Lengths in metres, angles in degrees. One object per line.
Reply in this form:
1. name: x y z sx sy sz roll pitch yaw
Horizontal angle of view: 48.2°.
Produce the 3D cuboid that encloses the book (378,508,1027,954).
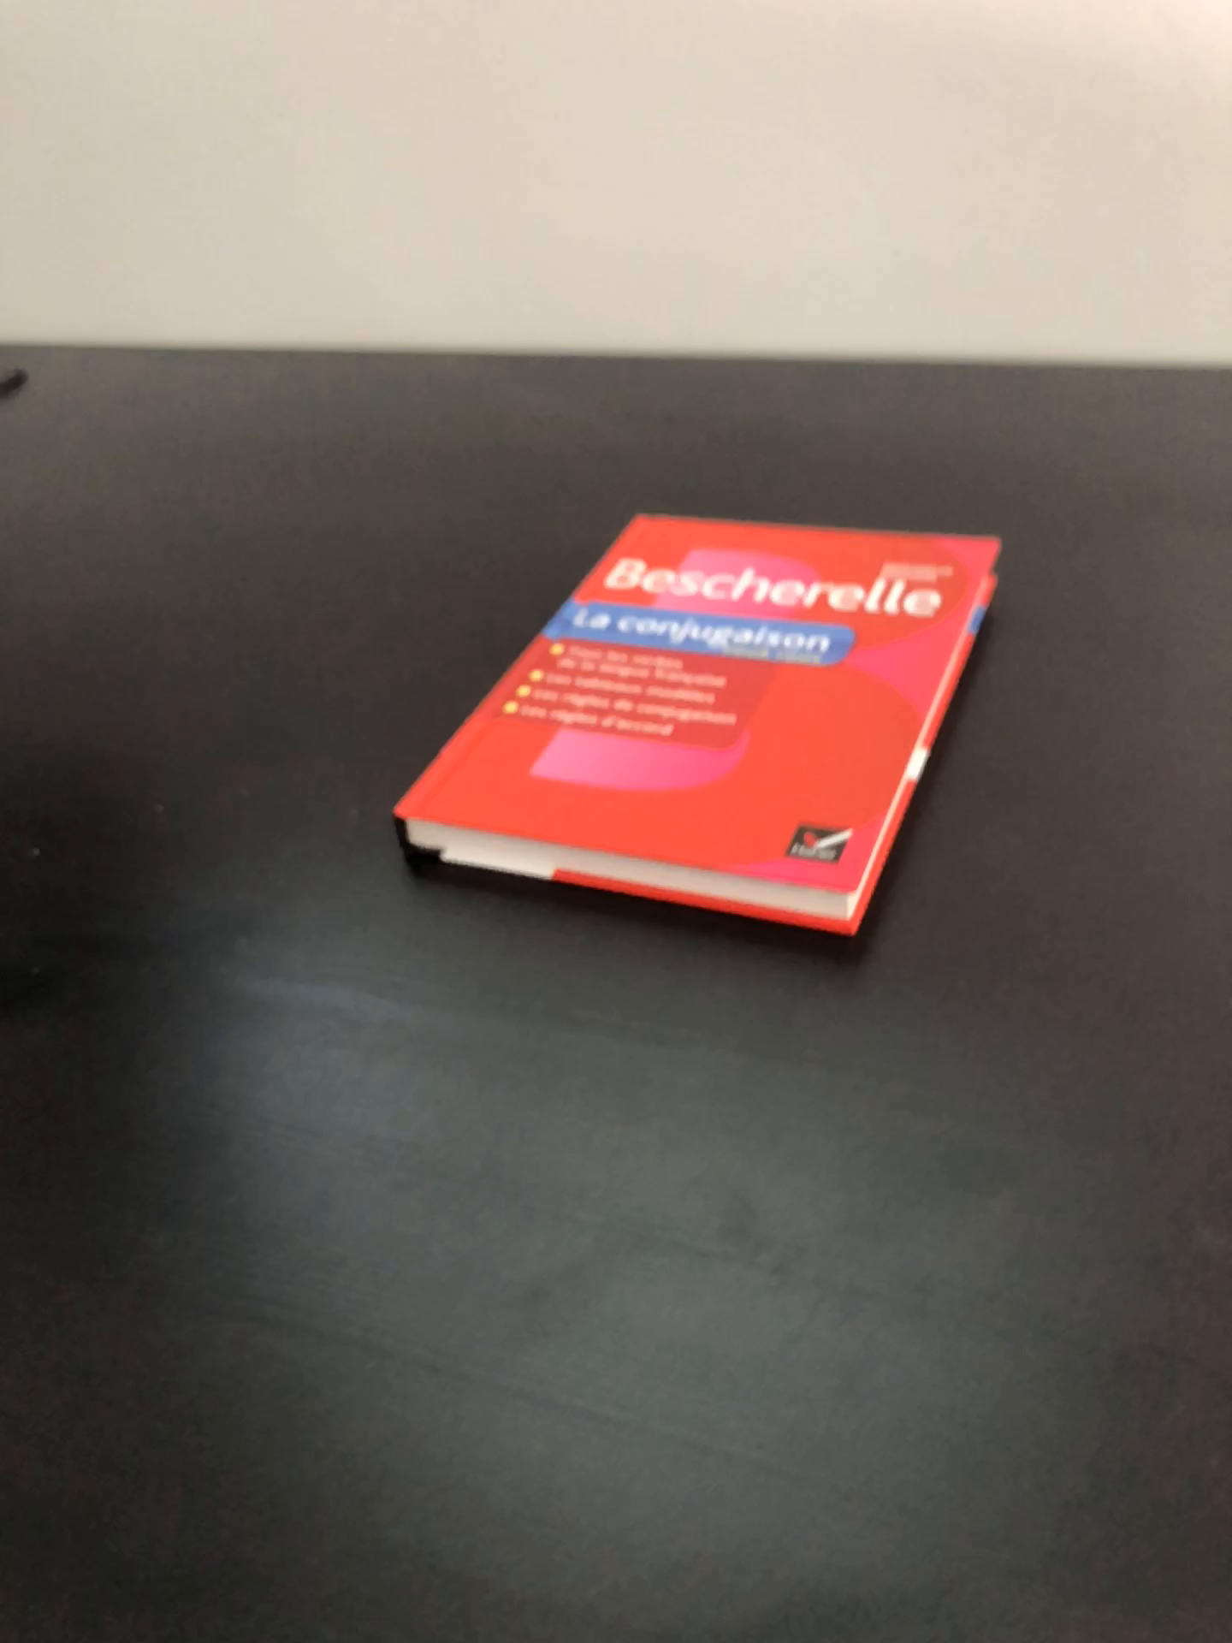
1. book: 0.040 -0.045 0.454 0.150 0.020 0.205 9 40 23
